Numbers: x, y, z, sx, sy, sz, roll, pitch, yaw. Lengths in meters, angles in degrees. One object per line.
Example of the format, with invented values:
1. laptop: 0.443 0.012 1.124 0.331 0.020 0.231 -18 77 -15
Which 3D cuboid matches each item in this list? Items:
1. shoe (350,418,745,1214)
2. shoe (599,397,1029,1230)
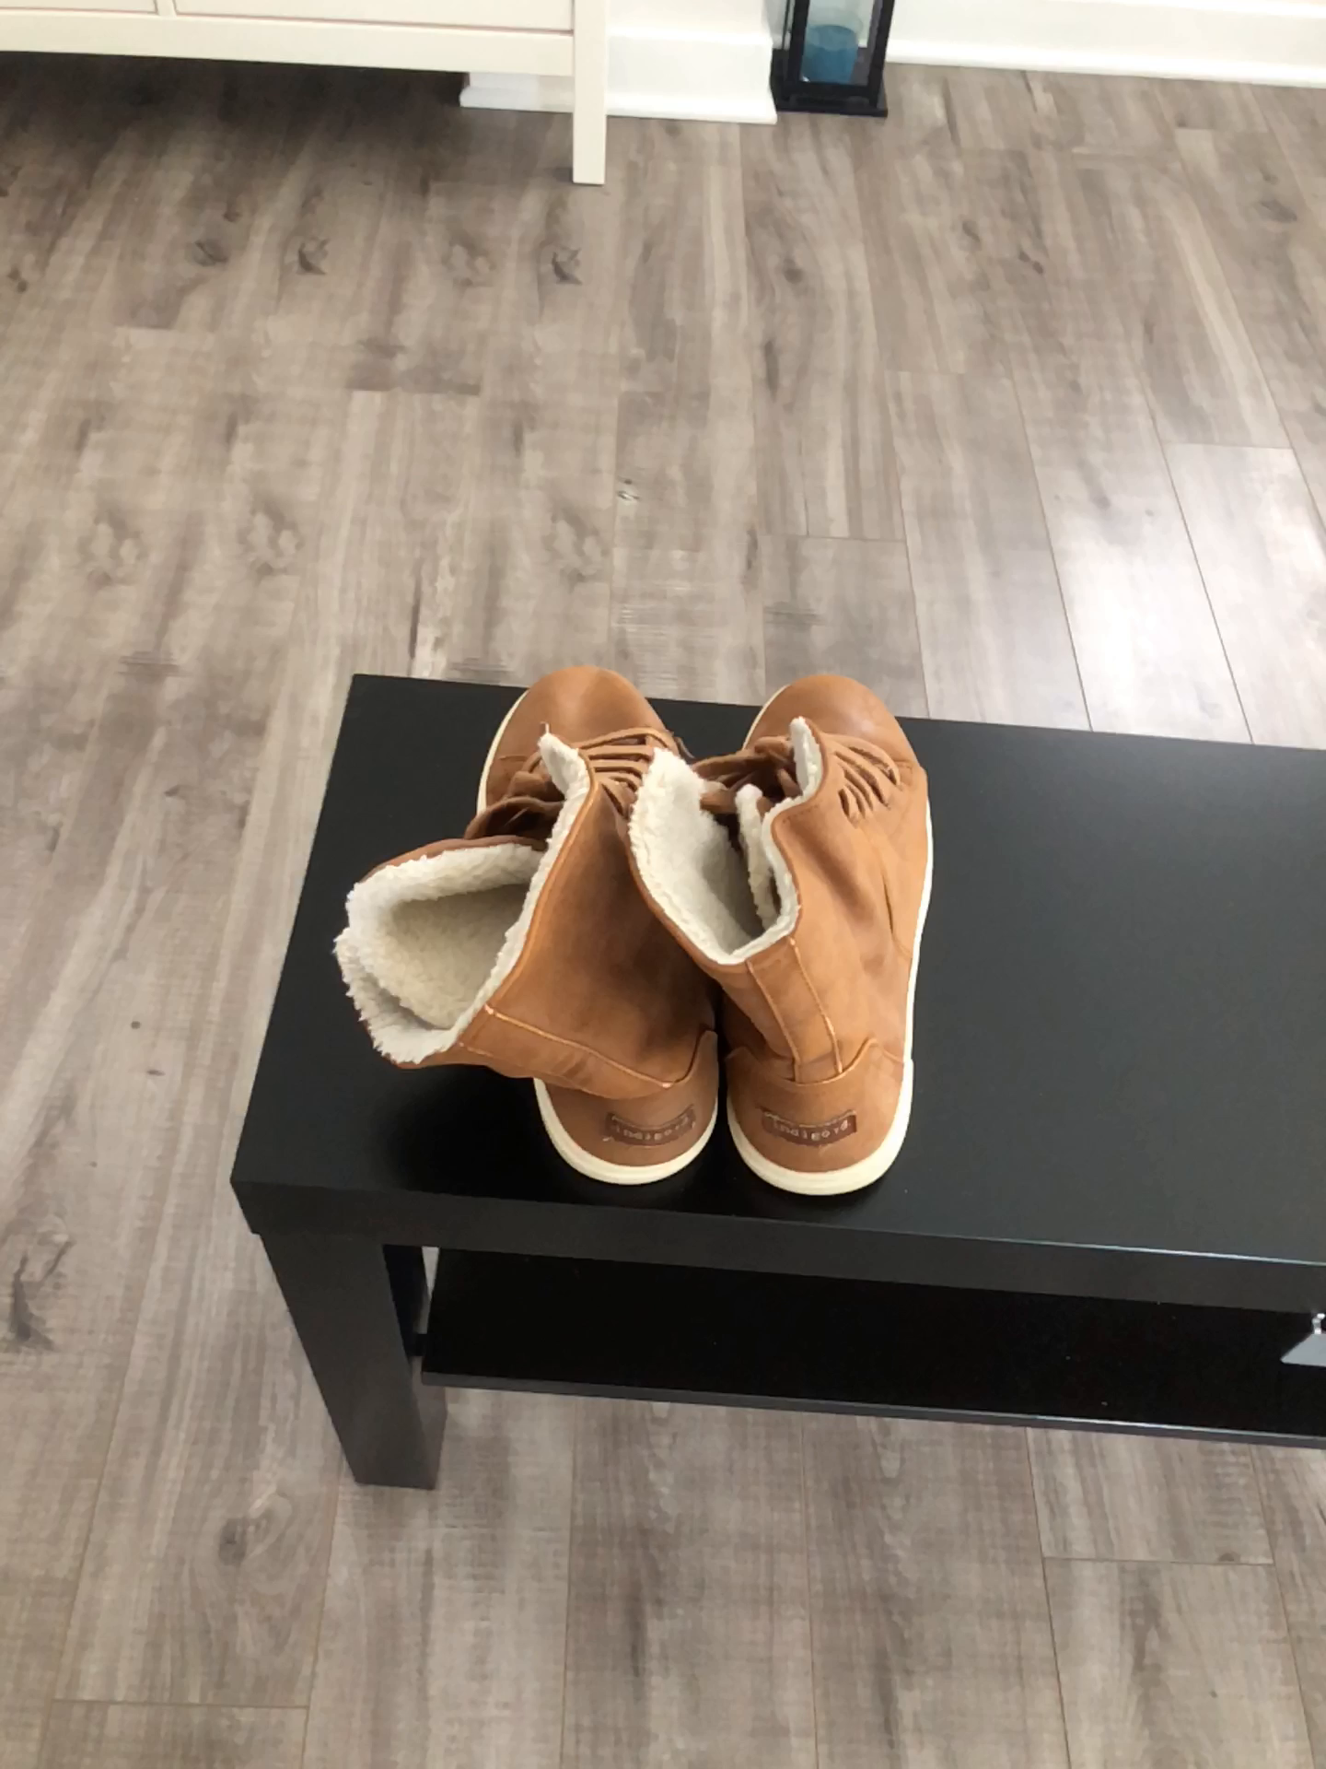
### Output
1. shoe: -0.036 -0.030 0.539 0.110 0.140 0.260 2 54 -3
2. shoe: 0.058 -0.032 0.544 0.110 0.150 0.260 10 54 4
